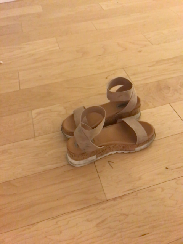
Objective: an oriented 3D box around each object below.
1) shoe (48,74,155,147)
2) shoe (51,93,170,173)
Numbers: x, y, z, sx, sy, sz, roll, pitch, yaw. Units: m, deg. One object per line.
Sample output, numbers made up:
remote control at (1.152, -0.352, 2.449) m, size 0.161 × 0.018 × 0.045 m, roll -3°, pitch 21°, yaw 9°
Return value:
shoe at (0.028, -0.037, 0.605) m, size 0.280 × 0.119 × 0.111 m, roll -14°, pitch 50°, yaw -9°
shoe at (0.045, 0.027, 0.547) m, size 0.280 × 0.109 × 0.111 m, roll -14°, pitch 50°, yaw -8°
